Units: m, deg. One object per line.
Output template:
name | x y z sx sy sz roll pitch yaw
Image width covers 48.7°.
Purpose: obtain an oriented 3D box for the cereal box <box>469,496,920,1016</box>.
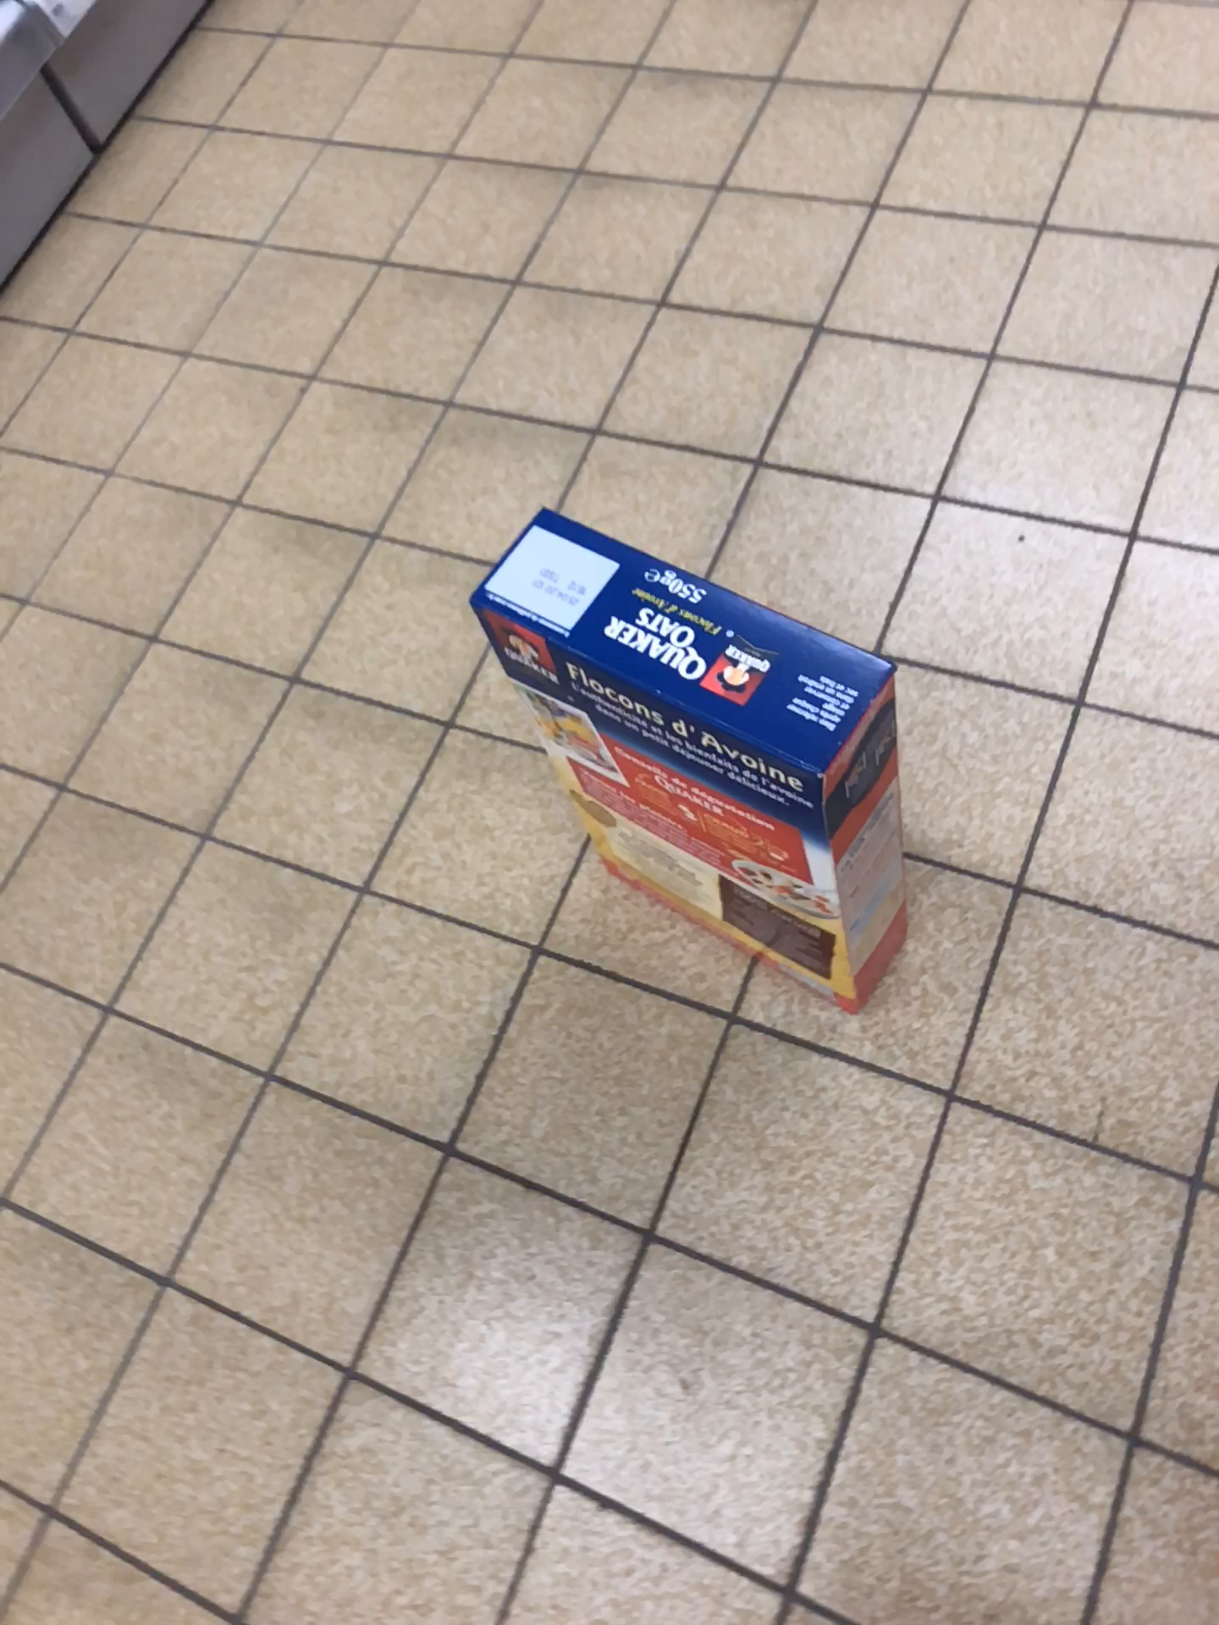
cereal box | 0.047 -0.010 0.535 0.140 0.229 0.050 29 74 25
